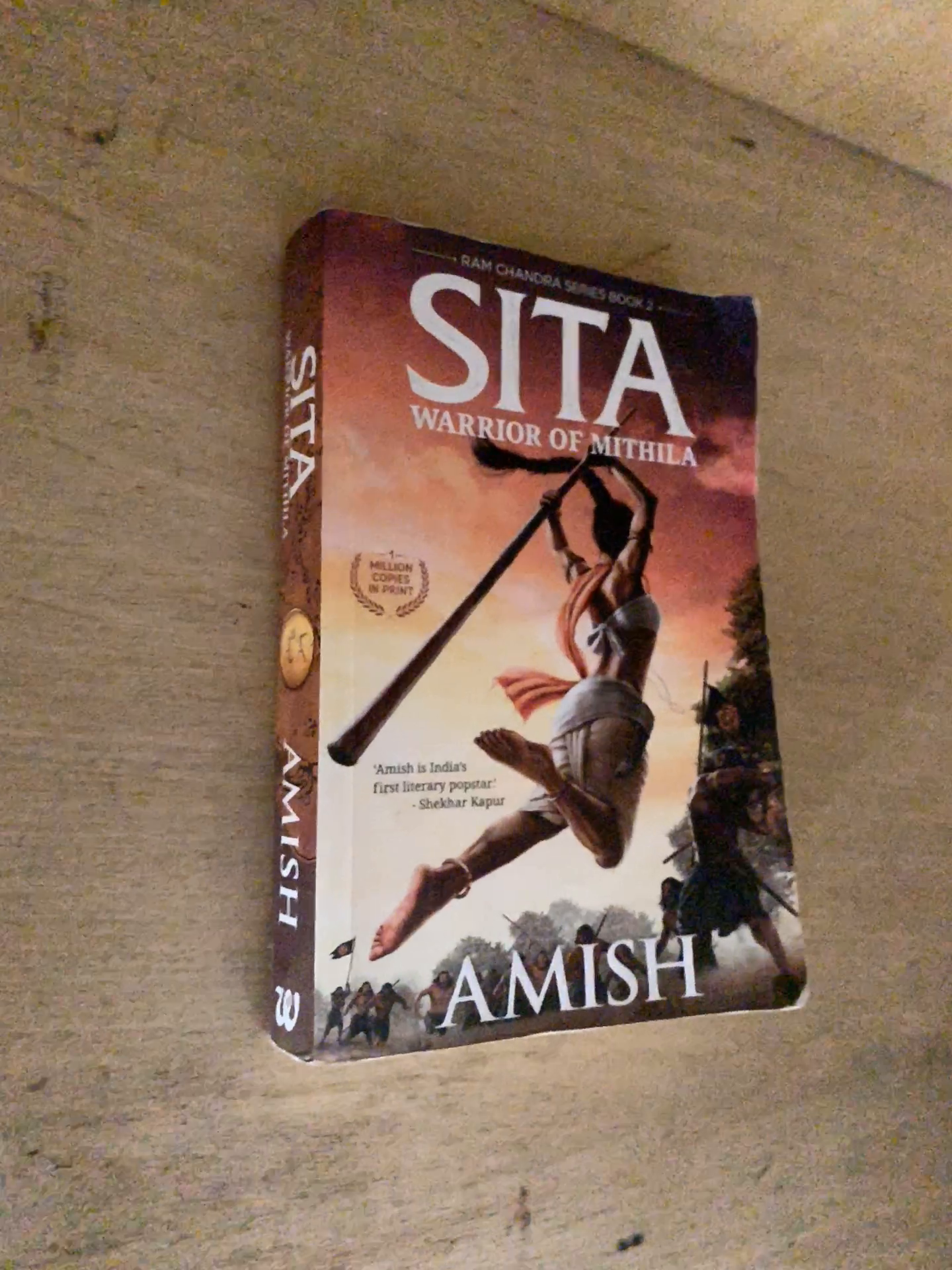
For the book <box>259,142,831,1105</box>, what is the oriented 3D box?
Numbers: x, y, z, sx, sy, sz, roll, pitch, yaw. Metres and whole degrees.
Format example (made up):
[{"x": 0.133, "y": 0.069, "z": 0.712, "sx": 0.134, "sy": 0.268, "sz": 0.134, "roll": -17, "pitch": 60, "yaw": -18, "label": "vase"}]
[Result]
[{"x": 0.021, "y": -0.003, "z": 0.248, "sx": 0.140, "sy": 0.030, "sz": 0.200, "roll": 3, "pitch": 84, "yaw": -25, "label": "book"}]
